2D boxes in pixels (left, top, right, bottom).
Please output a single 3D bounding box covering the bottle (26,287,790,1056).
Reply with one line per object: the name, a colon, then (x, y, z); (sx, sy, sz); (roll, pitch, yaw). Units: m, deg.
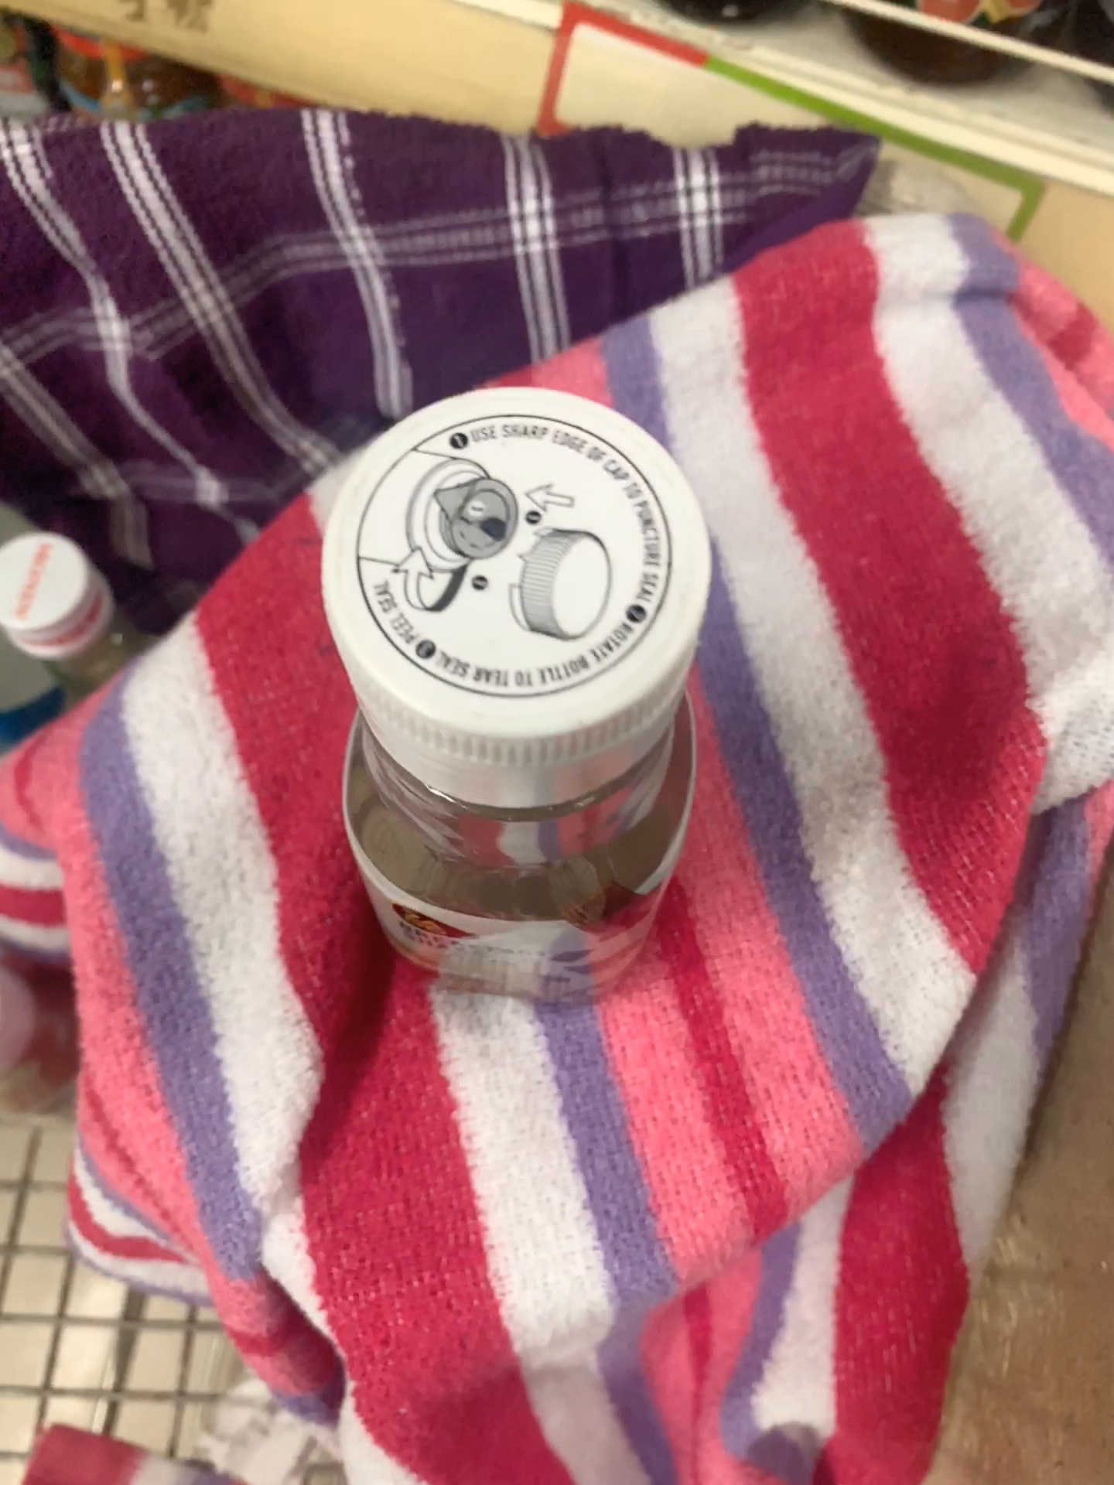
bottle: (-0.012, 0.008, 0.170); (0.060, 0.140, 0.050); (8, 69, 2)
